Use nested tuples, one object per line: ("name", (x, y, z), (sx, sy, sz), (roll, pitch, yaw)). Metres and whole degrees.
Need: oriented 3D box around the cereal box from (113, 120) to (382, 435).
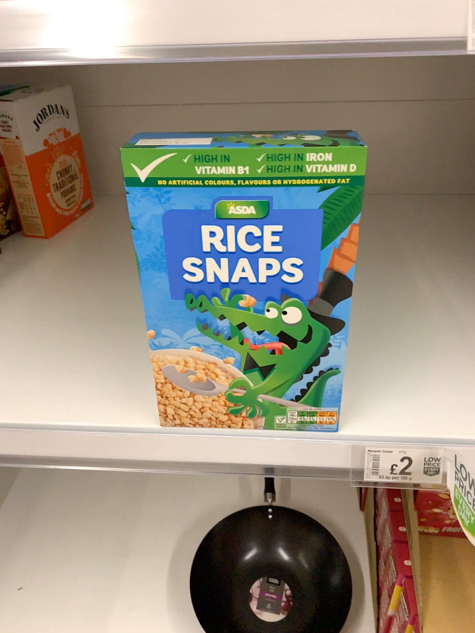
("cereal box", (0.012, -0.021, 0.451), (0.190, 0.287, 0.071), (0, 33, 4))
